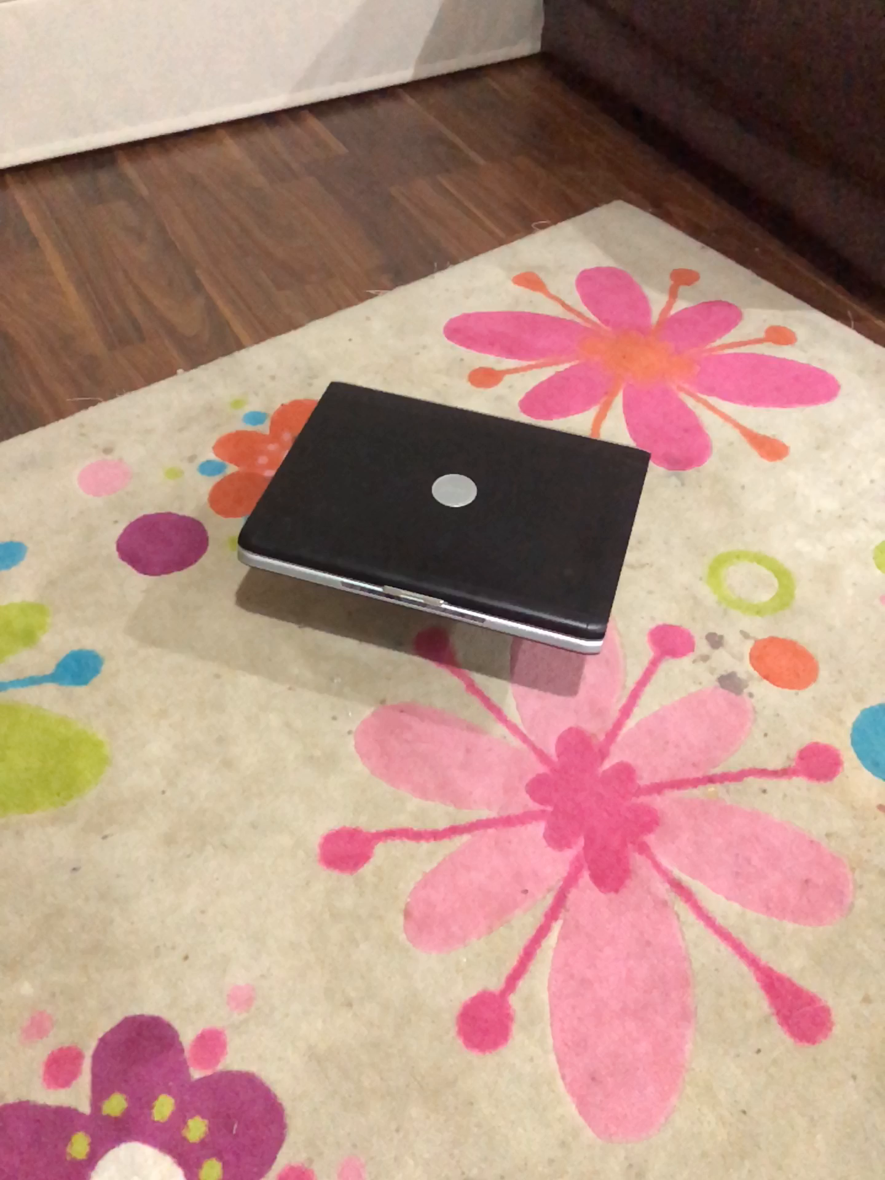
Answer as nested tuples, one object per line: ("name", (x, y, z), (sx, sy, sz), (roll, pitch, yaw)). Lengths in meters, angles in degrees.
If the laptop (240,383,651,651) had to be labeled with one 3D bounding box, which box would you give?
("laptop", (0.008, -0.086, 0.960), (0.353, 0.015, 0.233), (15, 56, 13))
